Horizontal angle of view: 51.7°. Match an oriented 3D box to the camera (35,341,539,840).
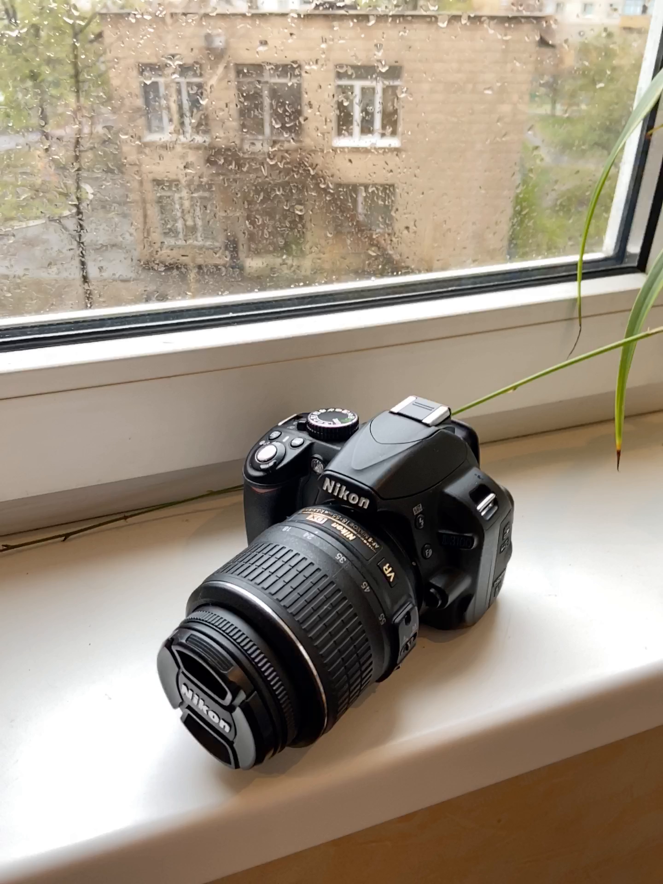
[{"bbox_3d":[-0.009,0.041,0.288,0.124,0.091,0.155,21,38,30],"label":"camera"}]
